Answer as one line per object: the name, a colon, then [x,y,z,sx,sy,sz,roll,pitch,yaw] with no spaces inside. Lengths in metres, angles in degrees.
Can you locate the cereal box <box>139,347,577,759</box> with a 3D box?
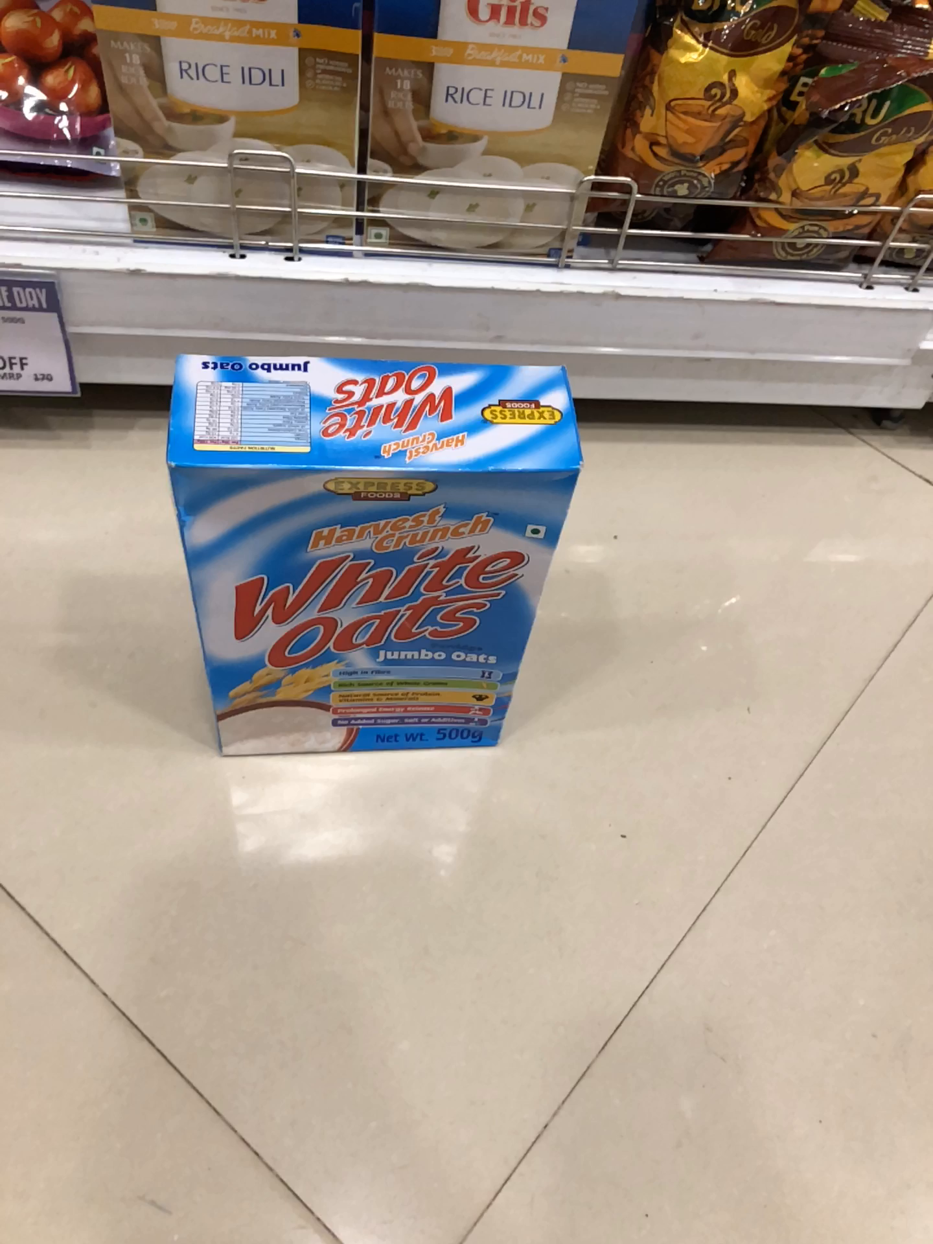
cereal box: [-0.051,-0.016,0.461,0.150,0.219,0.060,-1,57,-9]
